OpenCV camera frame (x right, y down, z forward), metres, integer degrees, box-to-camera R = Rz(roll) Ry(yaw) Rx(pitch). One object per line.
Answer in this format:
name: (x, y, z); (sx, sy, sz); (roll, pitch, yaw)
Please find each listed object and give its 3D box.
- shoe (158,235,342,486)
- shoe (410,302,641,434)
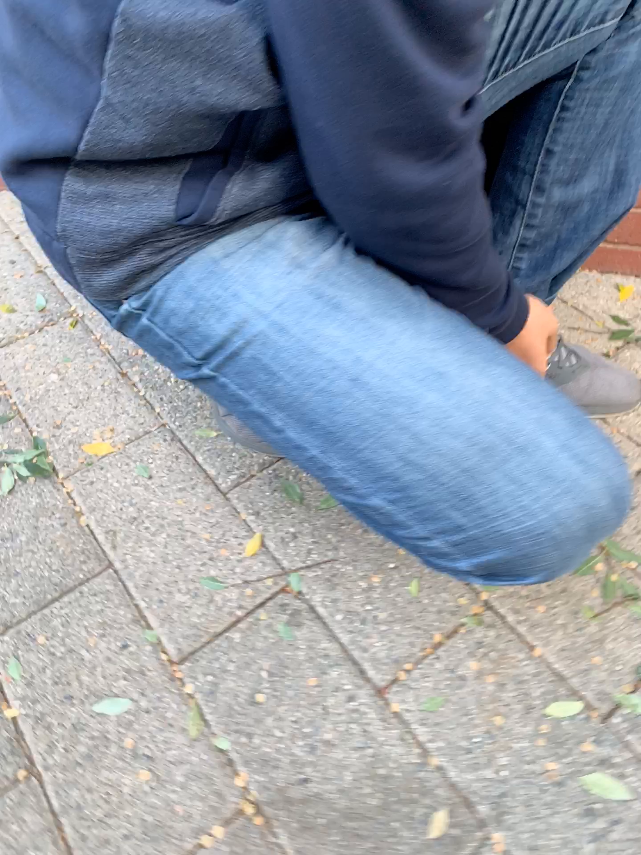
shoe: (-0.090, -0.081, 0.834); (0.116, 0.274, 0.098); (-25, 10, -15)
shoe: (0.272, -0.084, 0.892); (0.280, 0.083, 0.111); (10, 49, 13)
